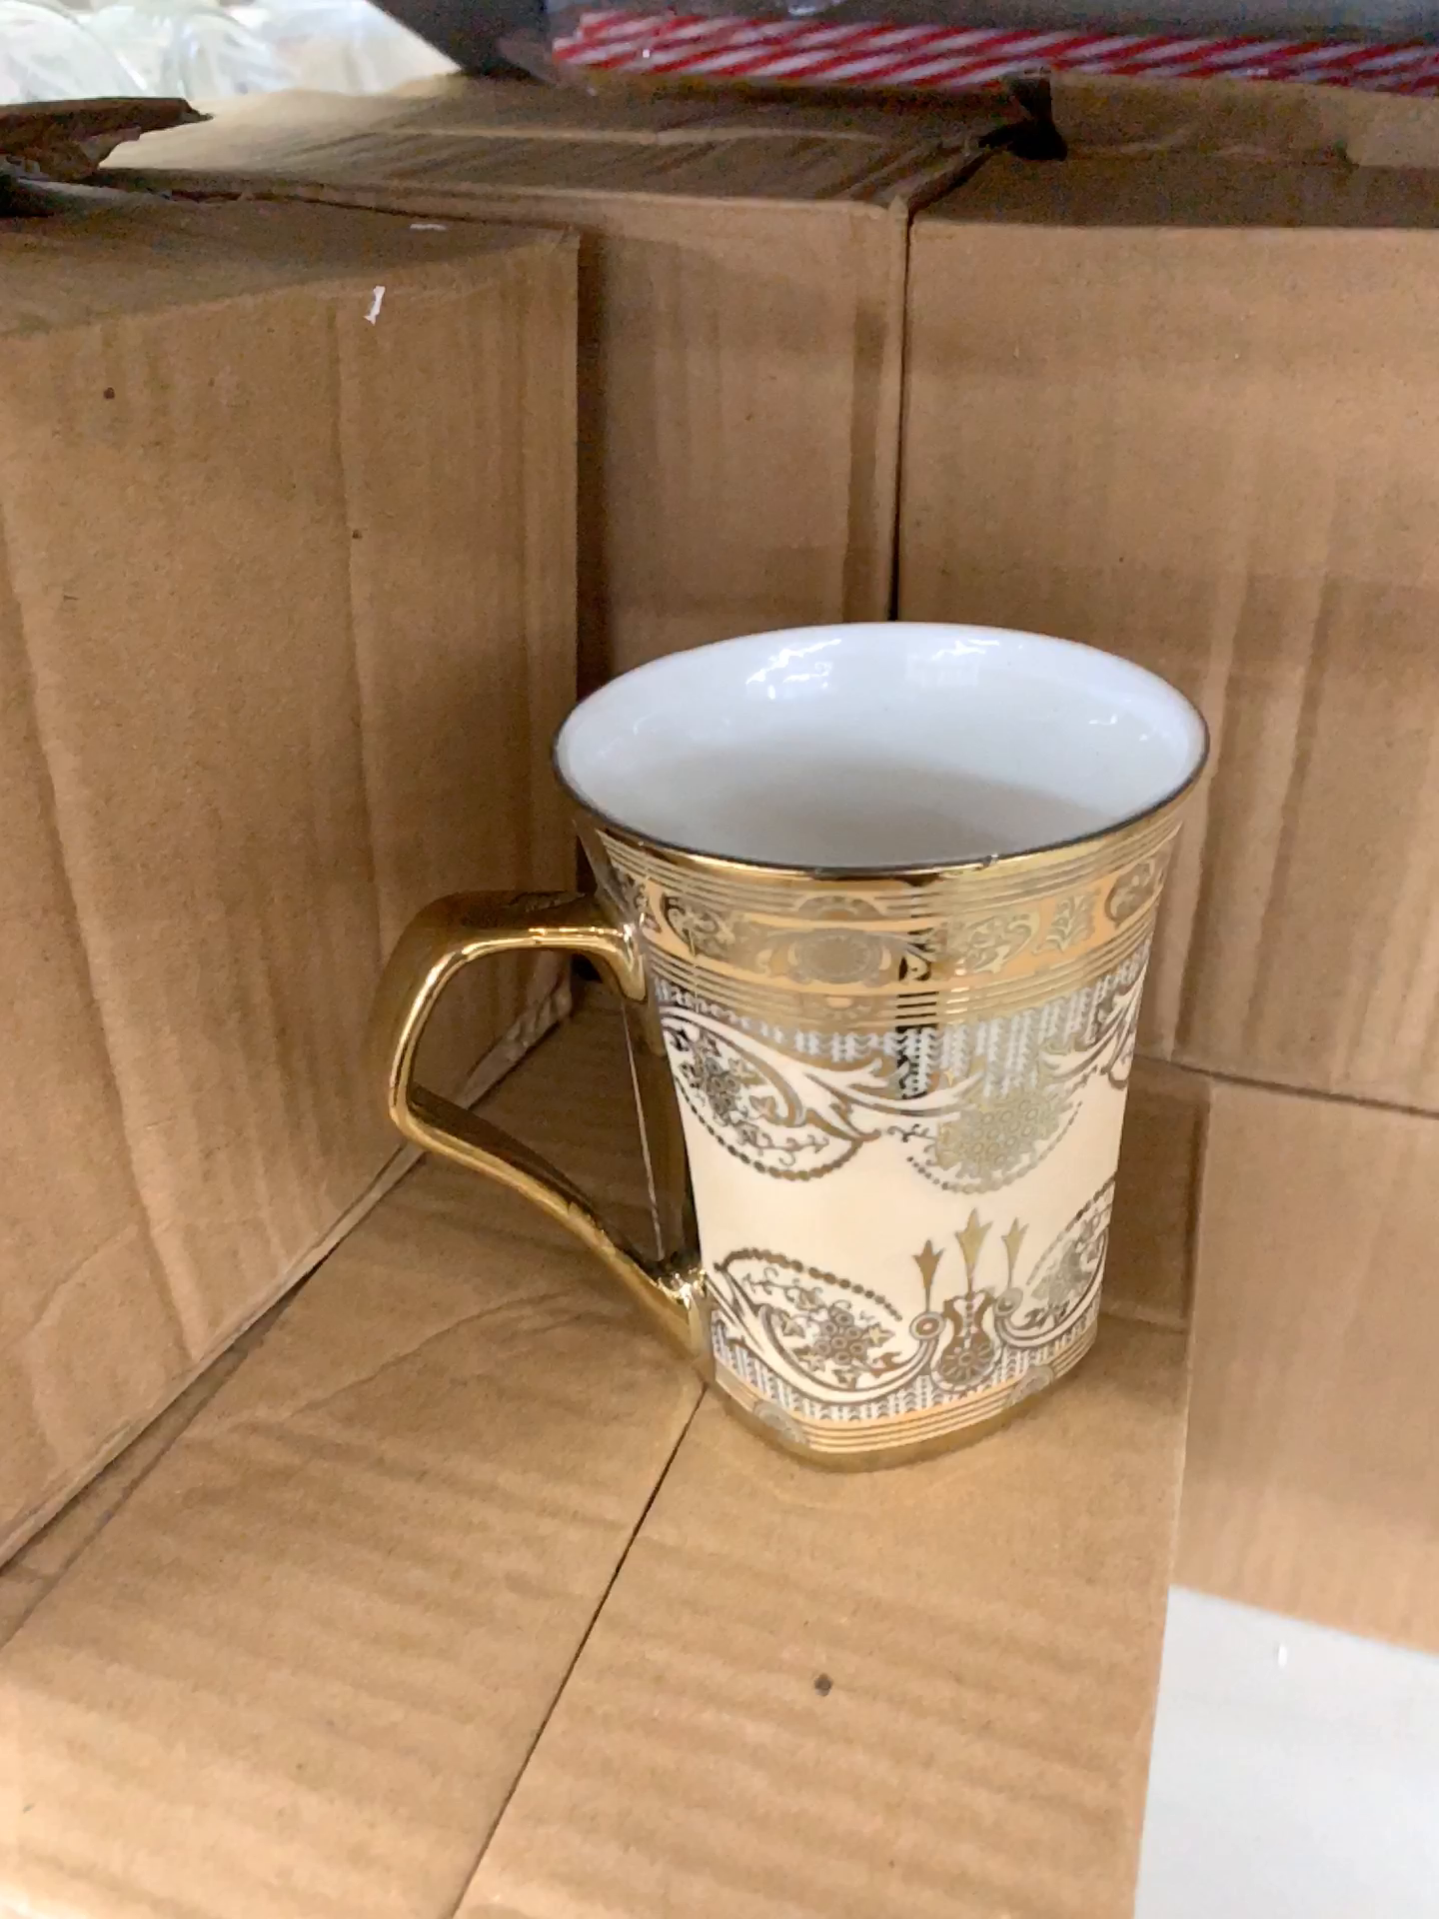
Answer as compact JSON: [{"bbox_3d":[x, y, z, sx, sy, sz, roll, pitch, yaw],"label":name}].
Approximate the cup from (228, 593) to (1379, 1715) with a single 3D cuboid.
[{"bbox_3d":[0.007,0.015,0.200,0.110,0.089,0.081,-16,34,-21],"label":"cup"}]
